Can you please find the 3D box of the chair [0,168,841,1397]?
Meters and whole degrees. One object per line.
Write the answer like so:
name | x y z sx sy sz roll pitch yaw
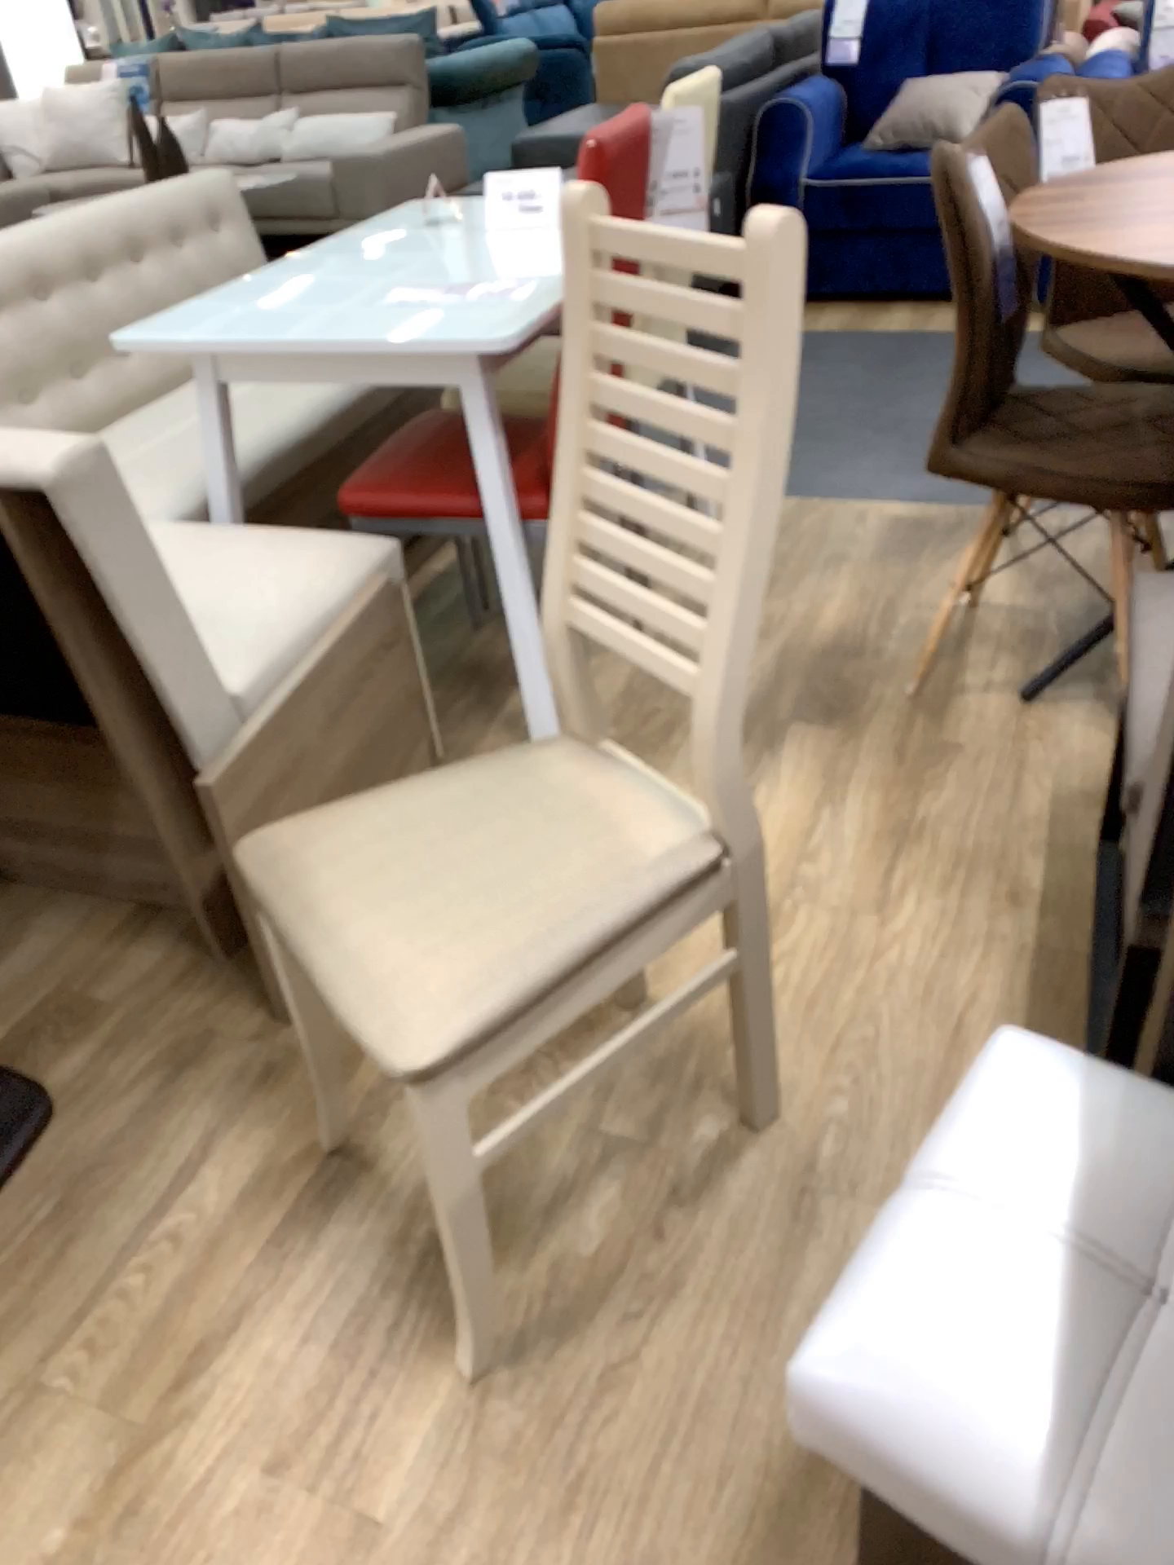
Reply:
chair | -0.090 0.017 1.105 0.473 0.969 0.392 -25 38 -25
